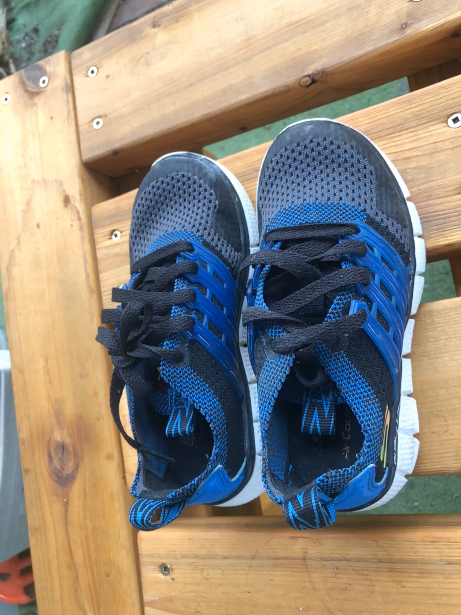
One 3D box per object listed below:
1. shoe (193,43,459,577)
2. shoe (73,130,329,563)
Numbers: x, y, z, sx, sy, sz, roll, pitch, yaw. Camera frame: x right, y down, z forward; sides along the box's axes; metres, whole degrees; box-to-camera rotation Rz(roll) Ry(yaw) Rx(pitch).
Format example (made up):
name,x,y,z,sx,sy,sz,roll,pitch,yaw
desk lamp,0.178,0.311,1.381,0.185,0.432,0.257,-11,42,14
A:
name,x,y,z,sx,sy,sz,roll,pitch,yaw
shoe,0.050,0.003,0.243,0.080,0.100,0.190,-8,84,25
shoe,-0.013,0.023,0.296,0.080,0.100,0.200,-13,82,24
